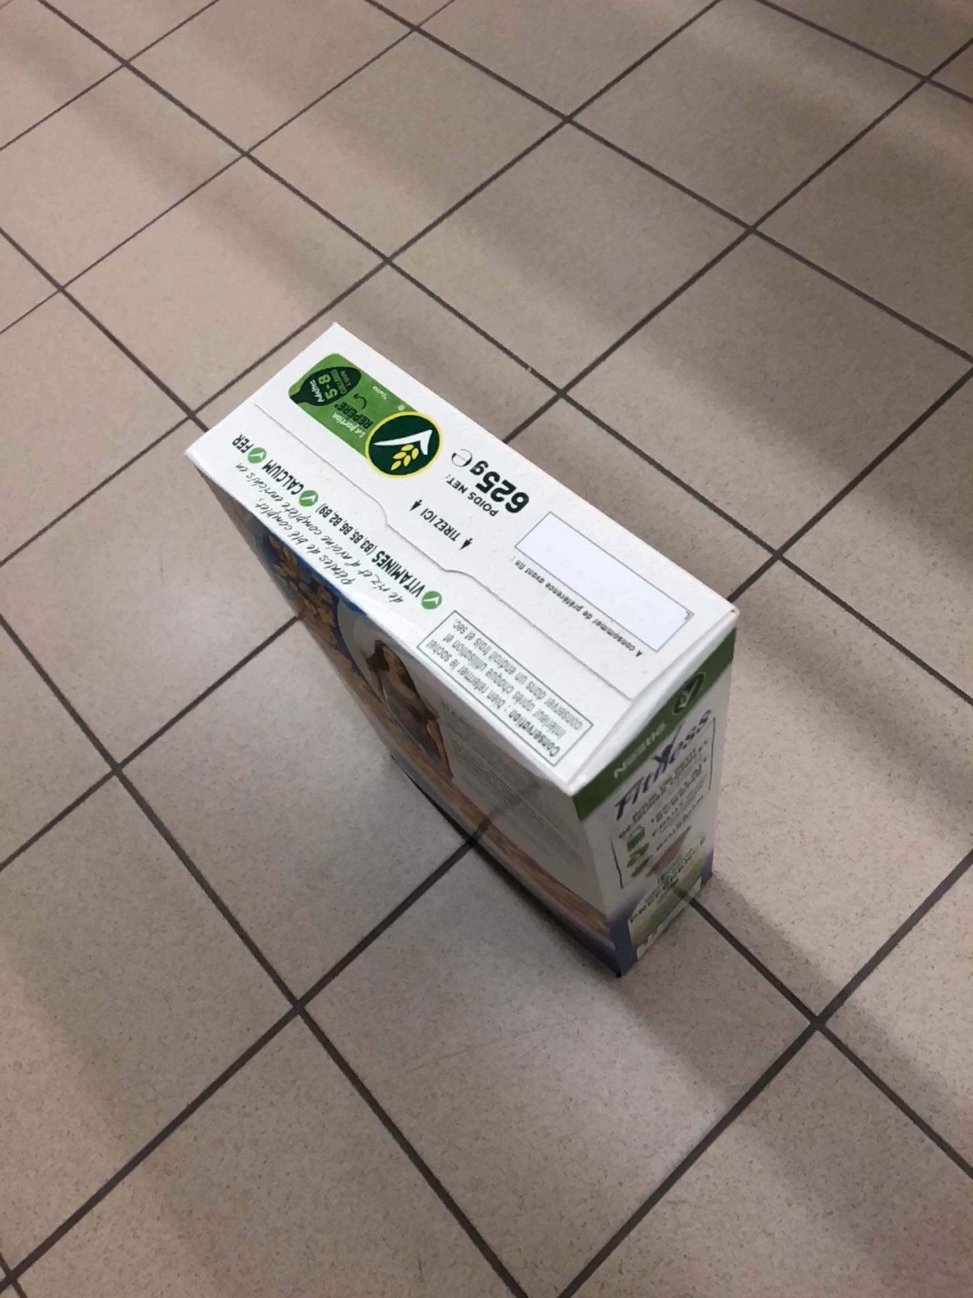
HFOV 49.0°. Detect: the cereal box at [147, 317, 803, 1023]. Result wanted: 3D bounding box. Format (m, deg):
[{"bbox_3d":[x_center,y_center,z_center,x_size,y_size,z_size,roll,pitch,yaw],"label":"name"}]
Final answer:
[{"bbox_3d":[0.009,0.035,0.475,0.210,0.299,0.090,38,75,24],"label":"cereal box"}]
